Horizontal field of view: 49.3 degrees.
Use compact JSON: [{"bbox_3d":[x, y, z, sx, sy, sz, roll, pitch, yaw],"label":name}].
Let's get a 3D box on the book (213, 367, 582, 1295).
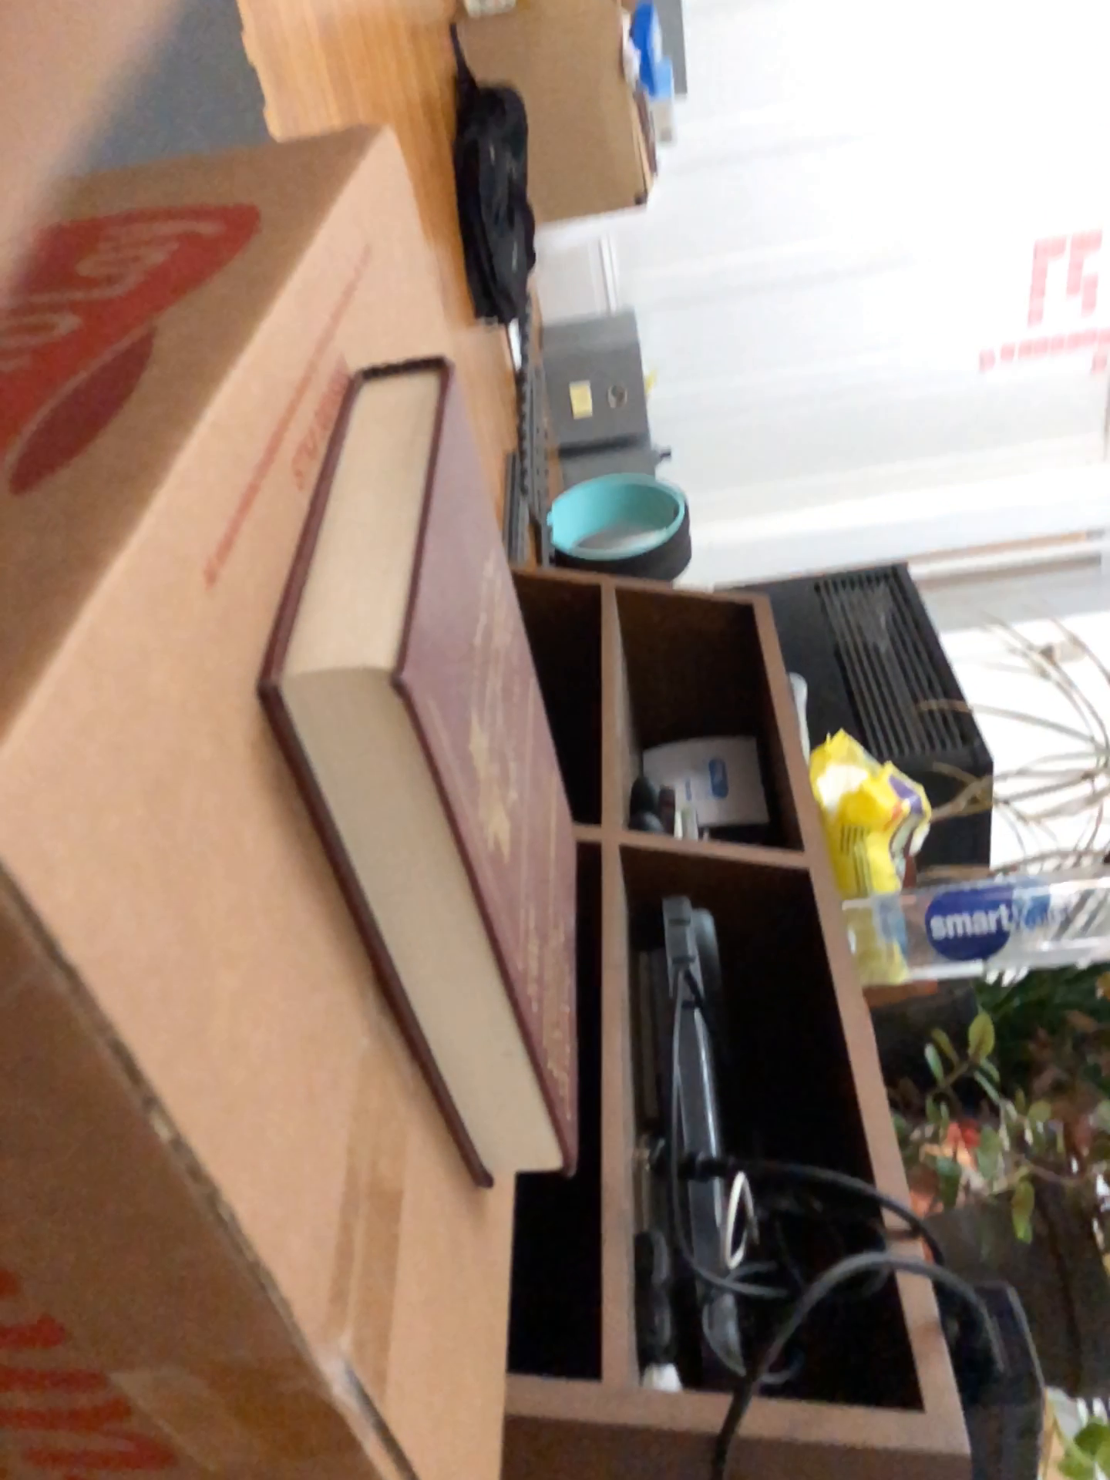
[{"bbox_3d":[-0.031,0.033,0.400,0.190,0.040,0.240,-90,170,-49],"label":"book"}]
